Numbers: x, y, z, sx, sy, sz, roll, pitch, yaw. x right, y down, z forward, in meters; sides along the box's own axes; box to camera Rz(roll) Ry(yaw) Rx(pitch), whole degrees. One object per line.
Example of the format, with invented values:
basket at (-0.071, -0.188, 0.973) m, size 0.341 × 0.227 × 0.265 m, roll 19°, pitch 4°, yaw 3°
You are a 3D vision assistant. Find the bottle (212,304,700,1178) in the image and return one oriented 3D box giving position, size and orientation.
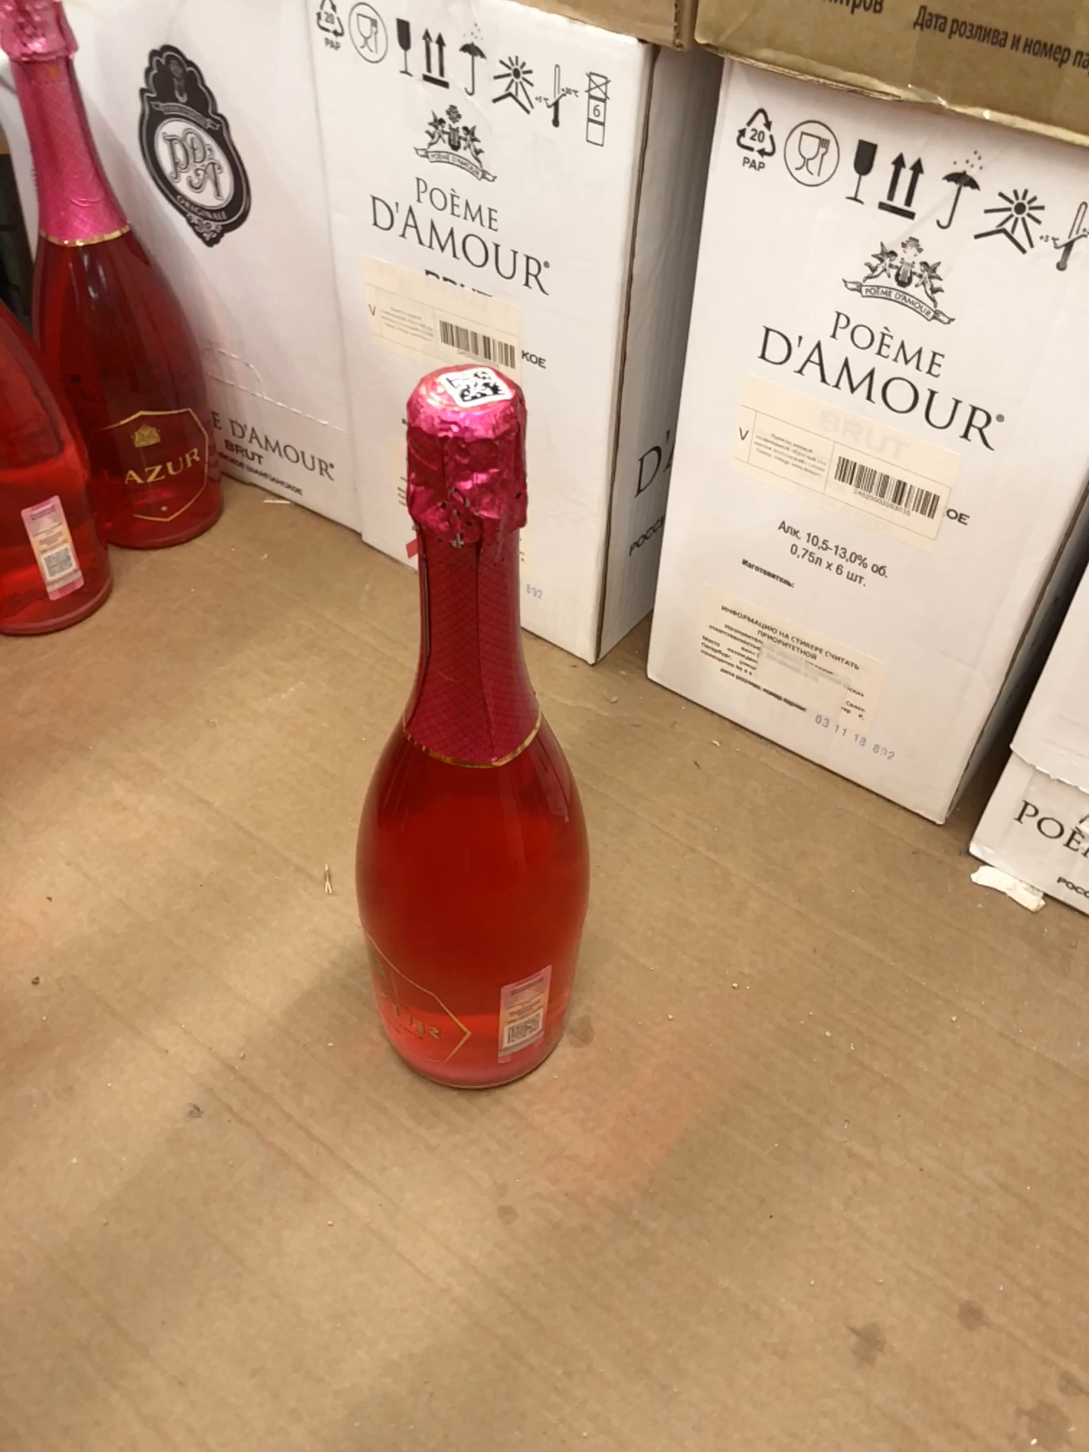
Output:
bottle at (-0.031, 0.032, 0.422) m, size 0.090 × 0.320 × 0.090 m, roll 2°, pitch 47°, yaw -2°
